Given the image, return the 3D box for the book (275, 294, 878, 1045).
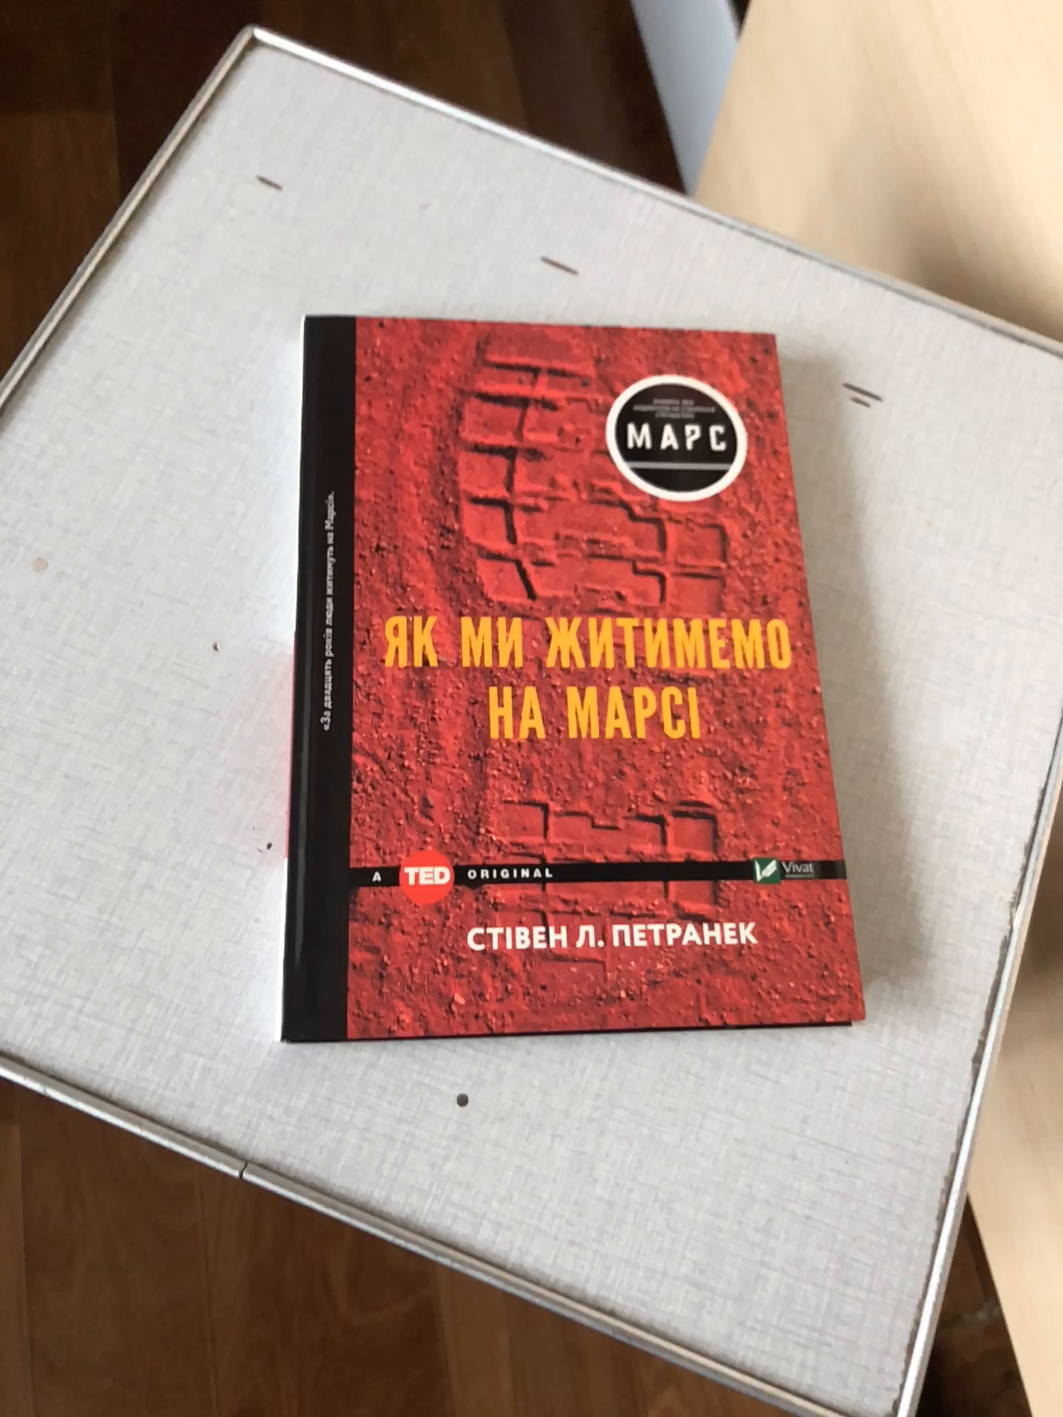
[{"bbox_3d":[0.009,-0.020,0.327,0.146,0.015,0.214,1,70,-6],"label":"book"}]
